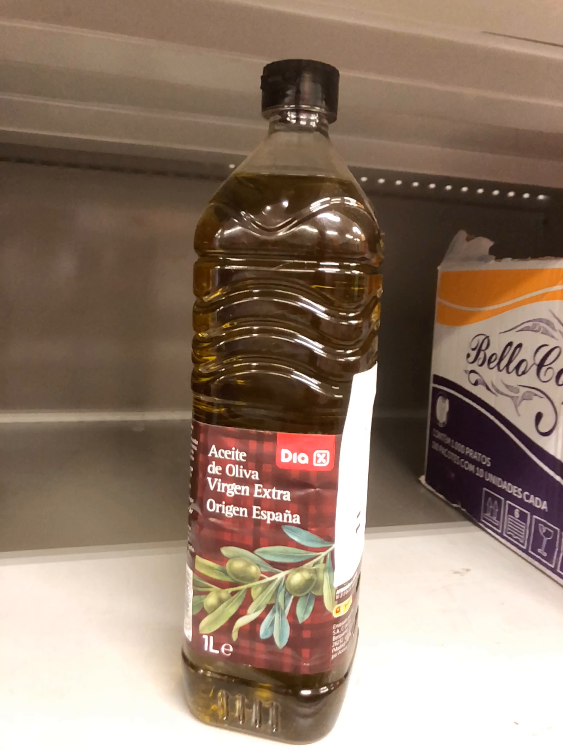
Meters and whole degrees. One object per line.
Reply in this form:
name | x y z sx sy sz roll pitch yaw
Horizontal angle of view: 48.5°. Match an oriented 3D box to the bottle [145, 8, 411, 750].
bottle | 0.000 0.009 0.266 0.080 0.279 0.070 6 9 11
